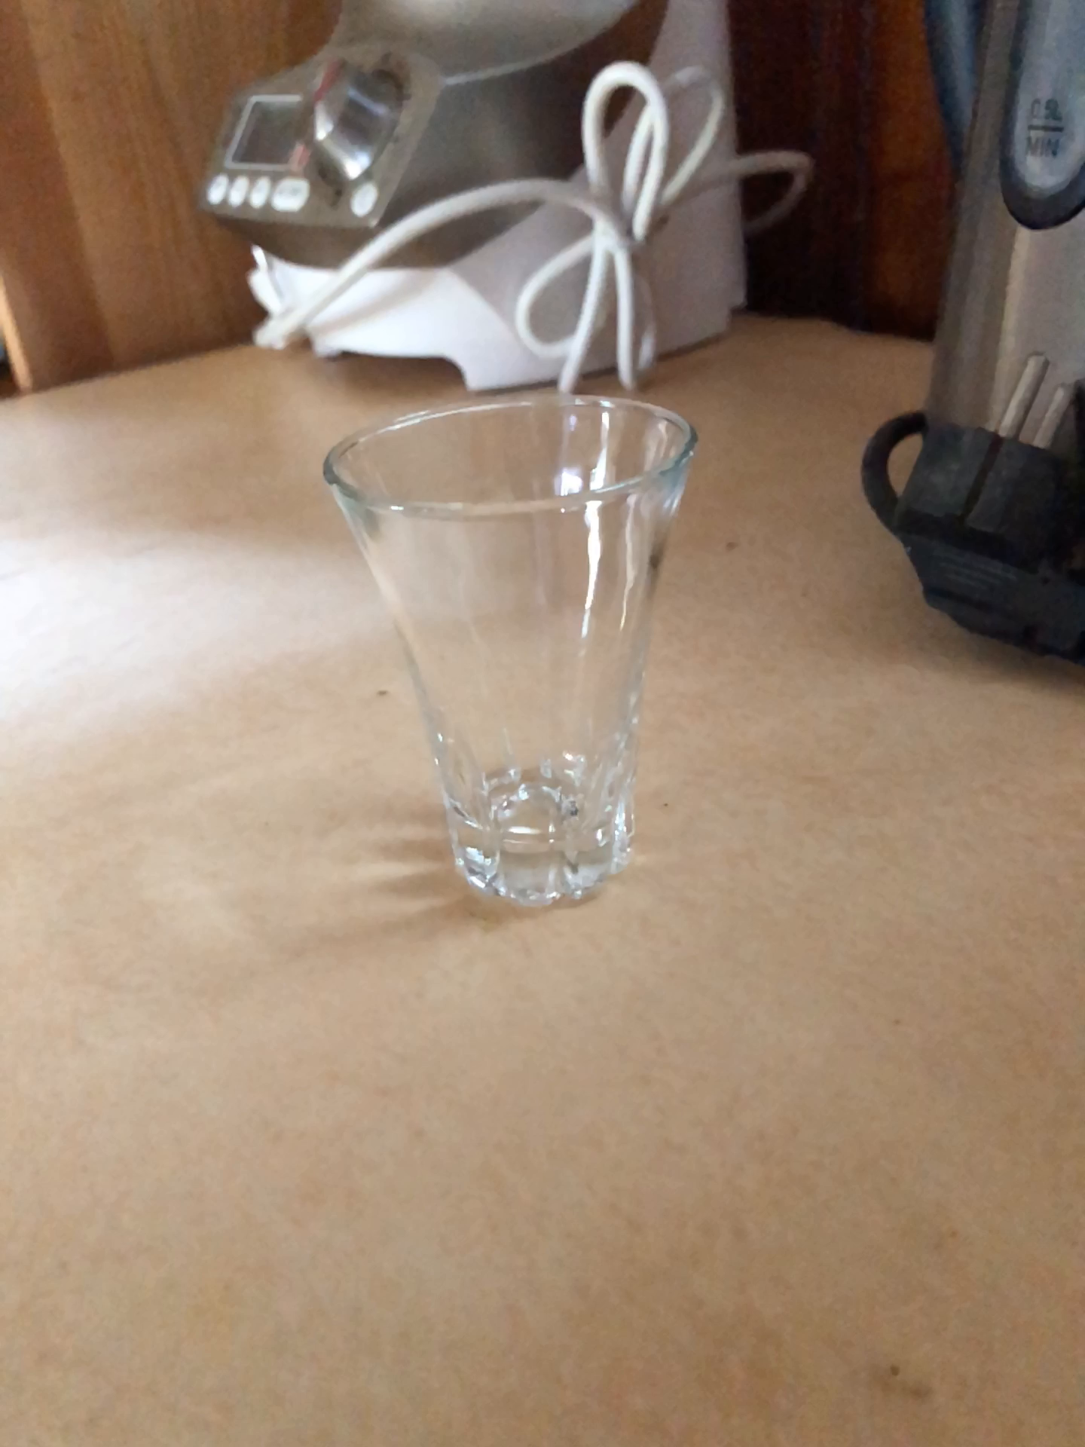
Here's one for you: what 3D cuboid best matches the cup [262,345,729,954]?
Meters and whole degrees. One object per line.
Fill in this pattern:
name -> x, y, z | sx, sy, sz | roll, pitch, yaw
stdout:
cup -> -0.006, -0.014, 0.188 | 0.050, 0.070, 0.050 | -4, 30, 2
